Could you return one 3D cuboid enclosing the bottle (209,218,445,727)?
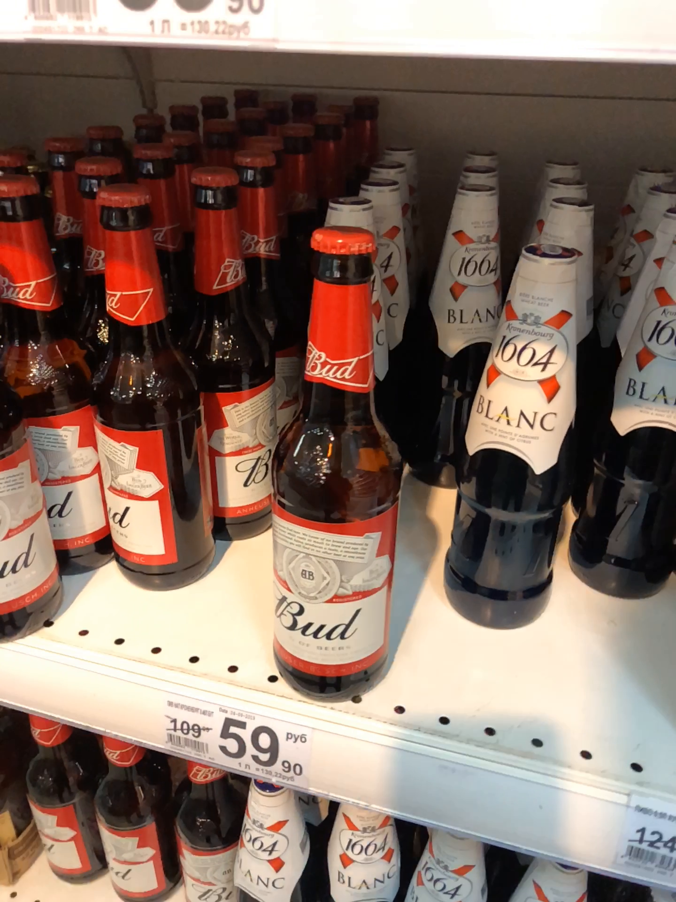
[{"bbox_3d":[-0.004,0.018,0.385,0.080,0.248,0.070,13,33,21],"label":"bottle"}]
